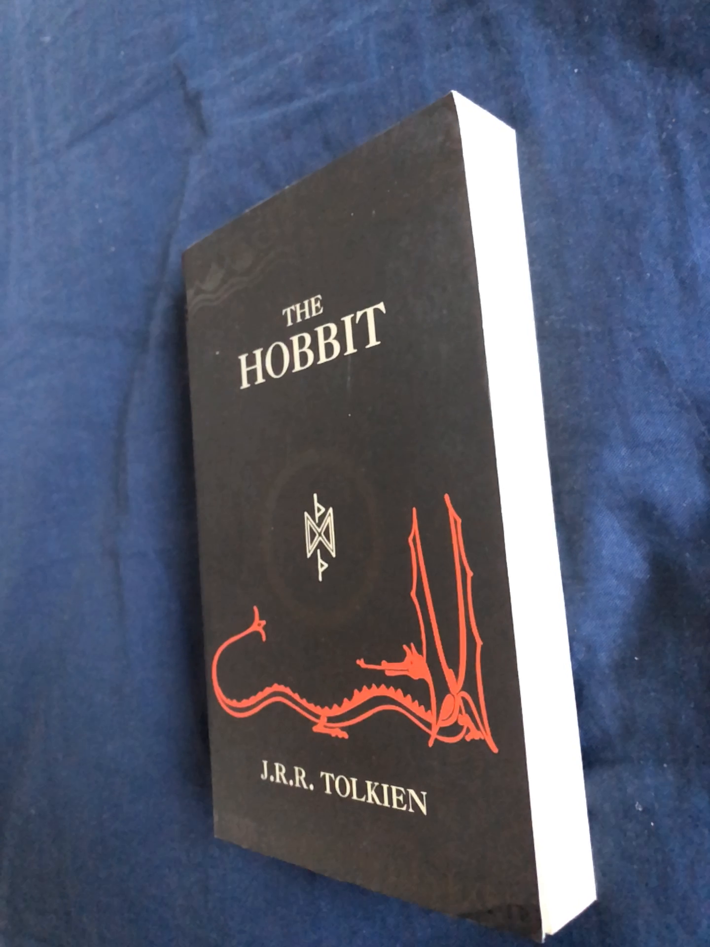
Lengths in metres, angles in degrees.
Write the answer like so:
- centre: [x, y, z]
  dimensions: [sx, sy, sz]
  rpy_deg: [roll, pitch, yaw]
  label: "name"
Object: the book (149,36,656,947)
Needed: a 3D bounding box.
- centre: [0.000, 0.010, 0.205]
  dimensions: [0.121, 0.040, 0.180]
  rpy_deg: [-10, 81, 43]
  label: "book"
